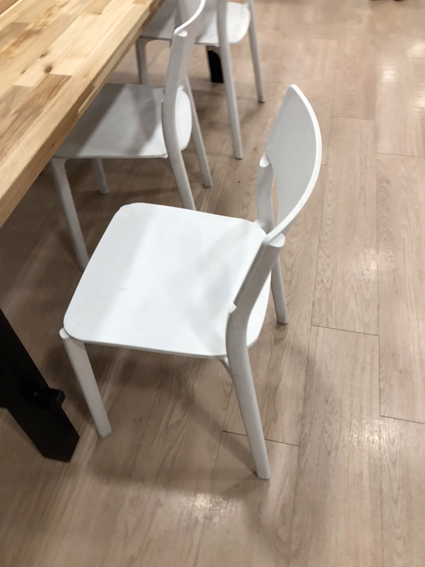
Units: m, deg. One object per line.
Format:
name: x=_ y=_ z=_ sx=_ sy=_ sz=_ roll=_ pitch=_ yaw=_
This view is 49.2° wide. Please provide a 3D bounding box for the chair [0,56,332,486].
chair: x=-0.089 y=0.003 z=1.007 sx=0.560 sy=0.716 sz=0.533 roll=7 pitch=51 yaw=9
